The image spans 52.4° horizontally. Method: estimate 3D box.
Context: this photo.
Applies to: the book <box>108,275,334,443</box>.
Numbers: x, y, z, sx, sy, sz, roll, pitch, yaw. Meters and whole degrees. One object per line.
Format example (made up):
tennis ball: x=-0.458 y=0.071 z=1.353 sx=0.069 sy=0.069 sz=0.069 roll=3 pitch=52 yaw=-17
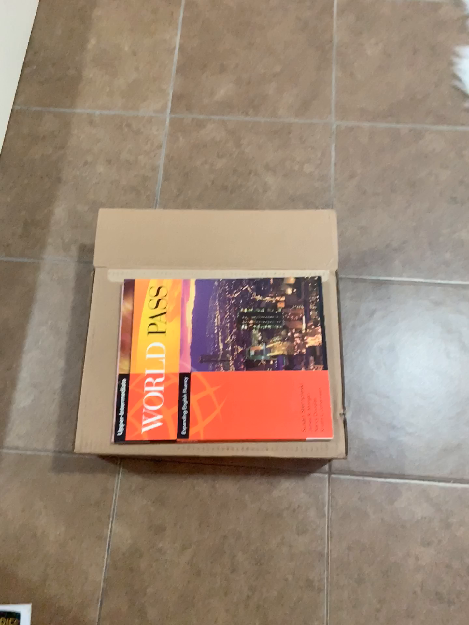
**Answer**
book: x=-0.017 y=0.056 z=0.609 sx=0.270 sy=0.018 sz=0.211 roll=-1 pitch=73 yaw=1
